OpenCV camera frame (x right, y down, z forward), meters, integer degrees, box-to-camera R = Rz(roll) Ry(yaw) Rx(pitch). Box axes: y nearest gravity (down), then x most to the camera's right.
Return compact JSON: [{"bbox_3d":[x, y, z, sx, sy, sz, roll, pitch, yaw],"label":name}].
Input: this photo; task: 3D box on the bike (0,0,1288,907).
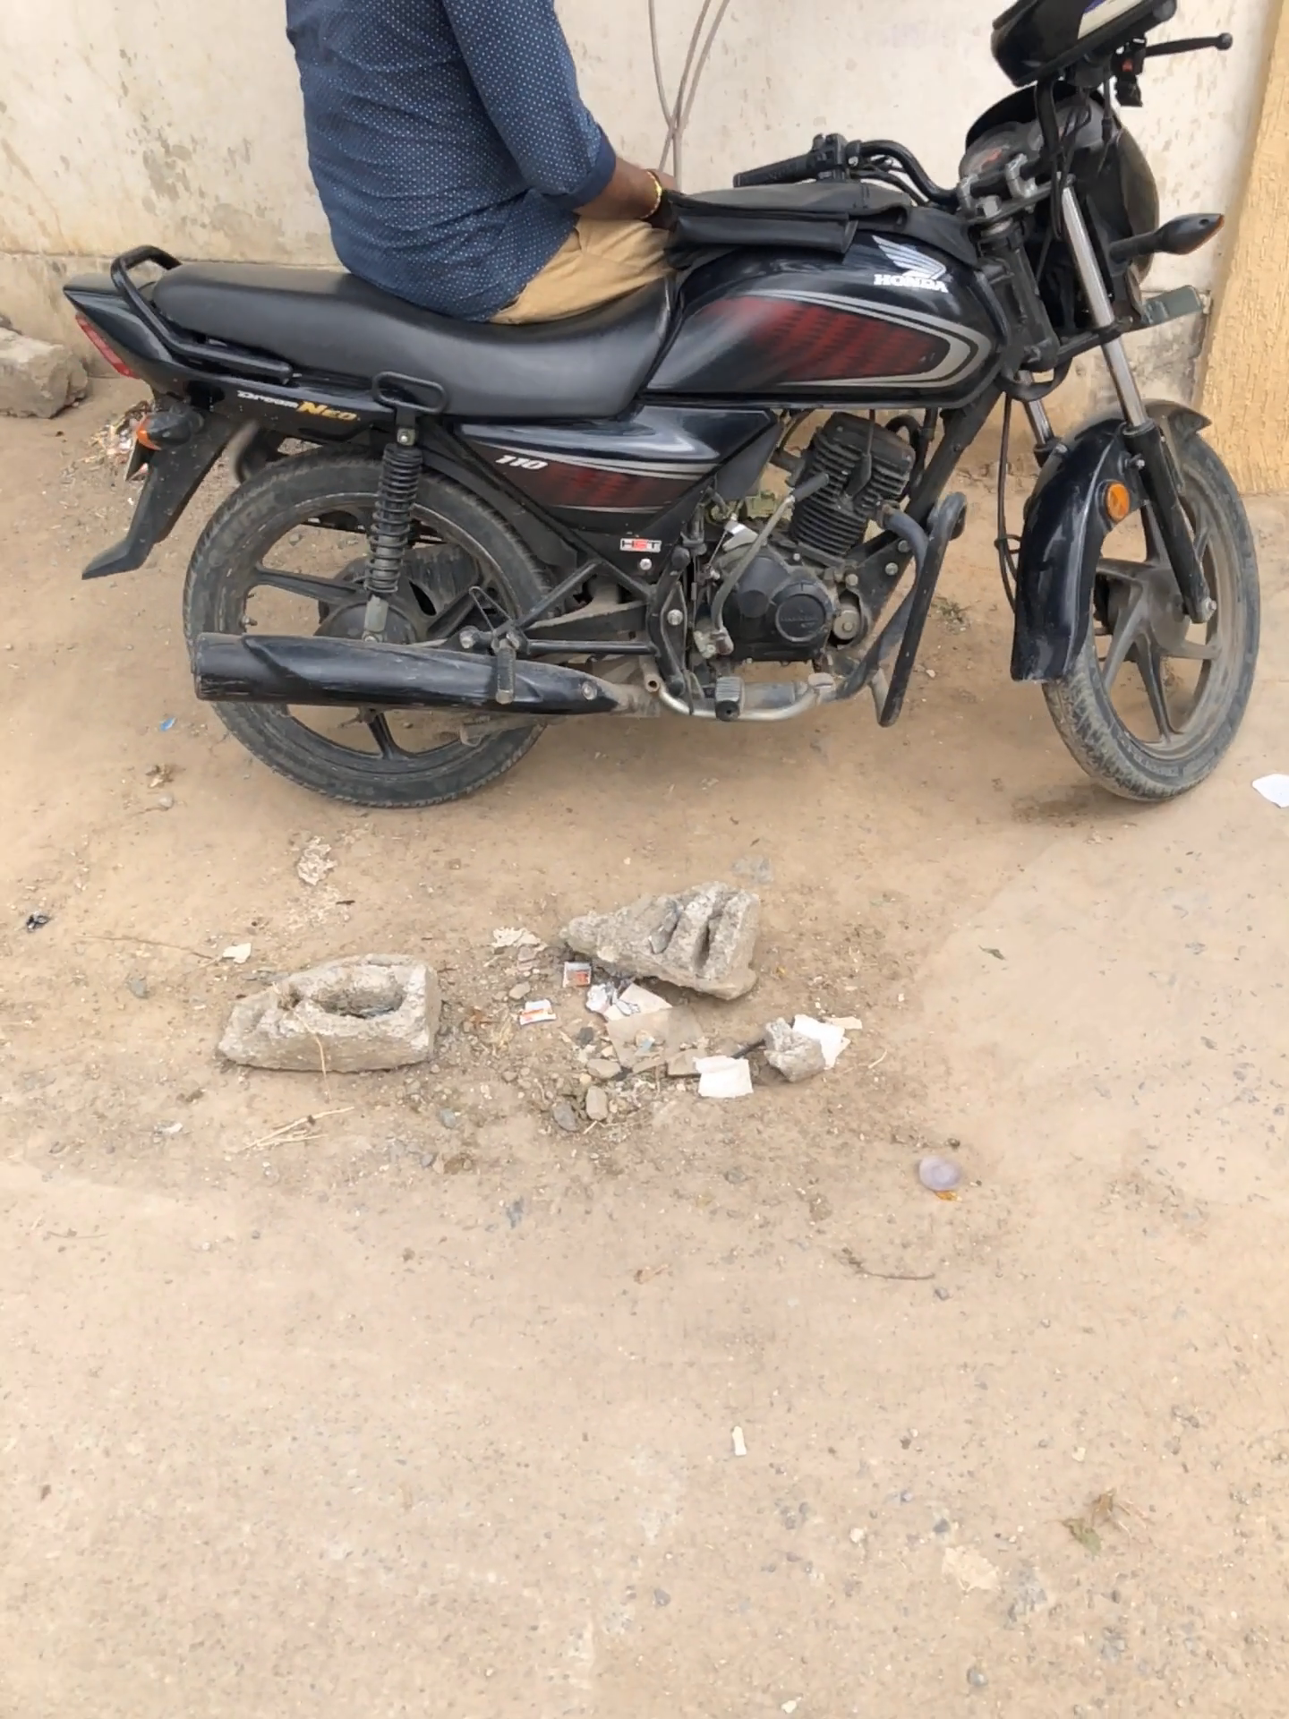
[{"bbox_3d":[0.151,-0.688,2.155,1.665,1.069,0.725,-7,39,-6],"label":"bike"}]
